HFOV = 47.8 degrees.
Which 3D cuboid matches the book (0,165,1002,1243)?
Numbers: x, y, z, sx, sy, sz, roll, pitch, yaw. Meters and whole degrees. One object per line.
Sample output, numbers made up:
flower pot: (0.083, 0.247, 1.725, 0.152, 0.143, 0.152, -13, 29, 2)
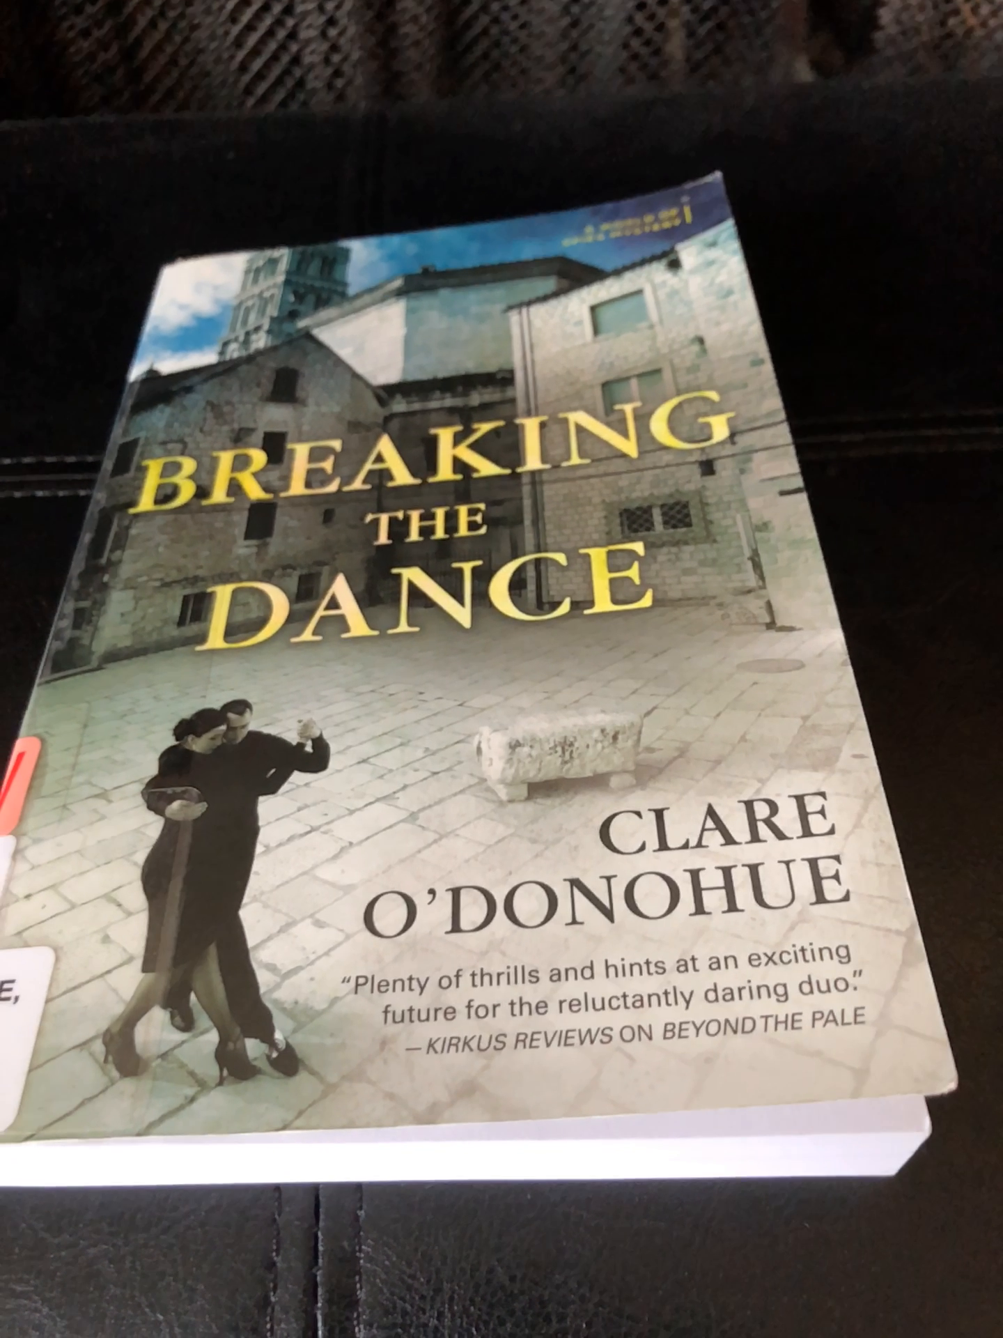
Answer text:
book: (-0.008, -0.016, 0.207, 0.140, 0.040, 0.210, -1, 53, 1)
